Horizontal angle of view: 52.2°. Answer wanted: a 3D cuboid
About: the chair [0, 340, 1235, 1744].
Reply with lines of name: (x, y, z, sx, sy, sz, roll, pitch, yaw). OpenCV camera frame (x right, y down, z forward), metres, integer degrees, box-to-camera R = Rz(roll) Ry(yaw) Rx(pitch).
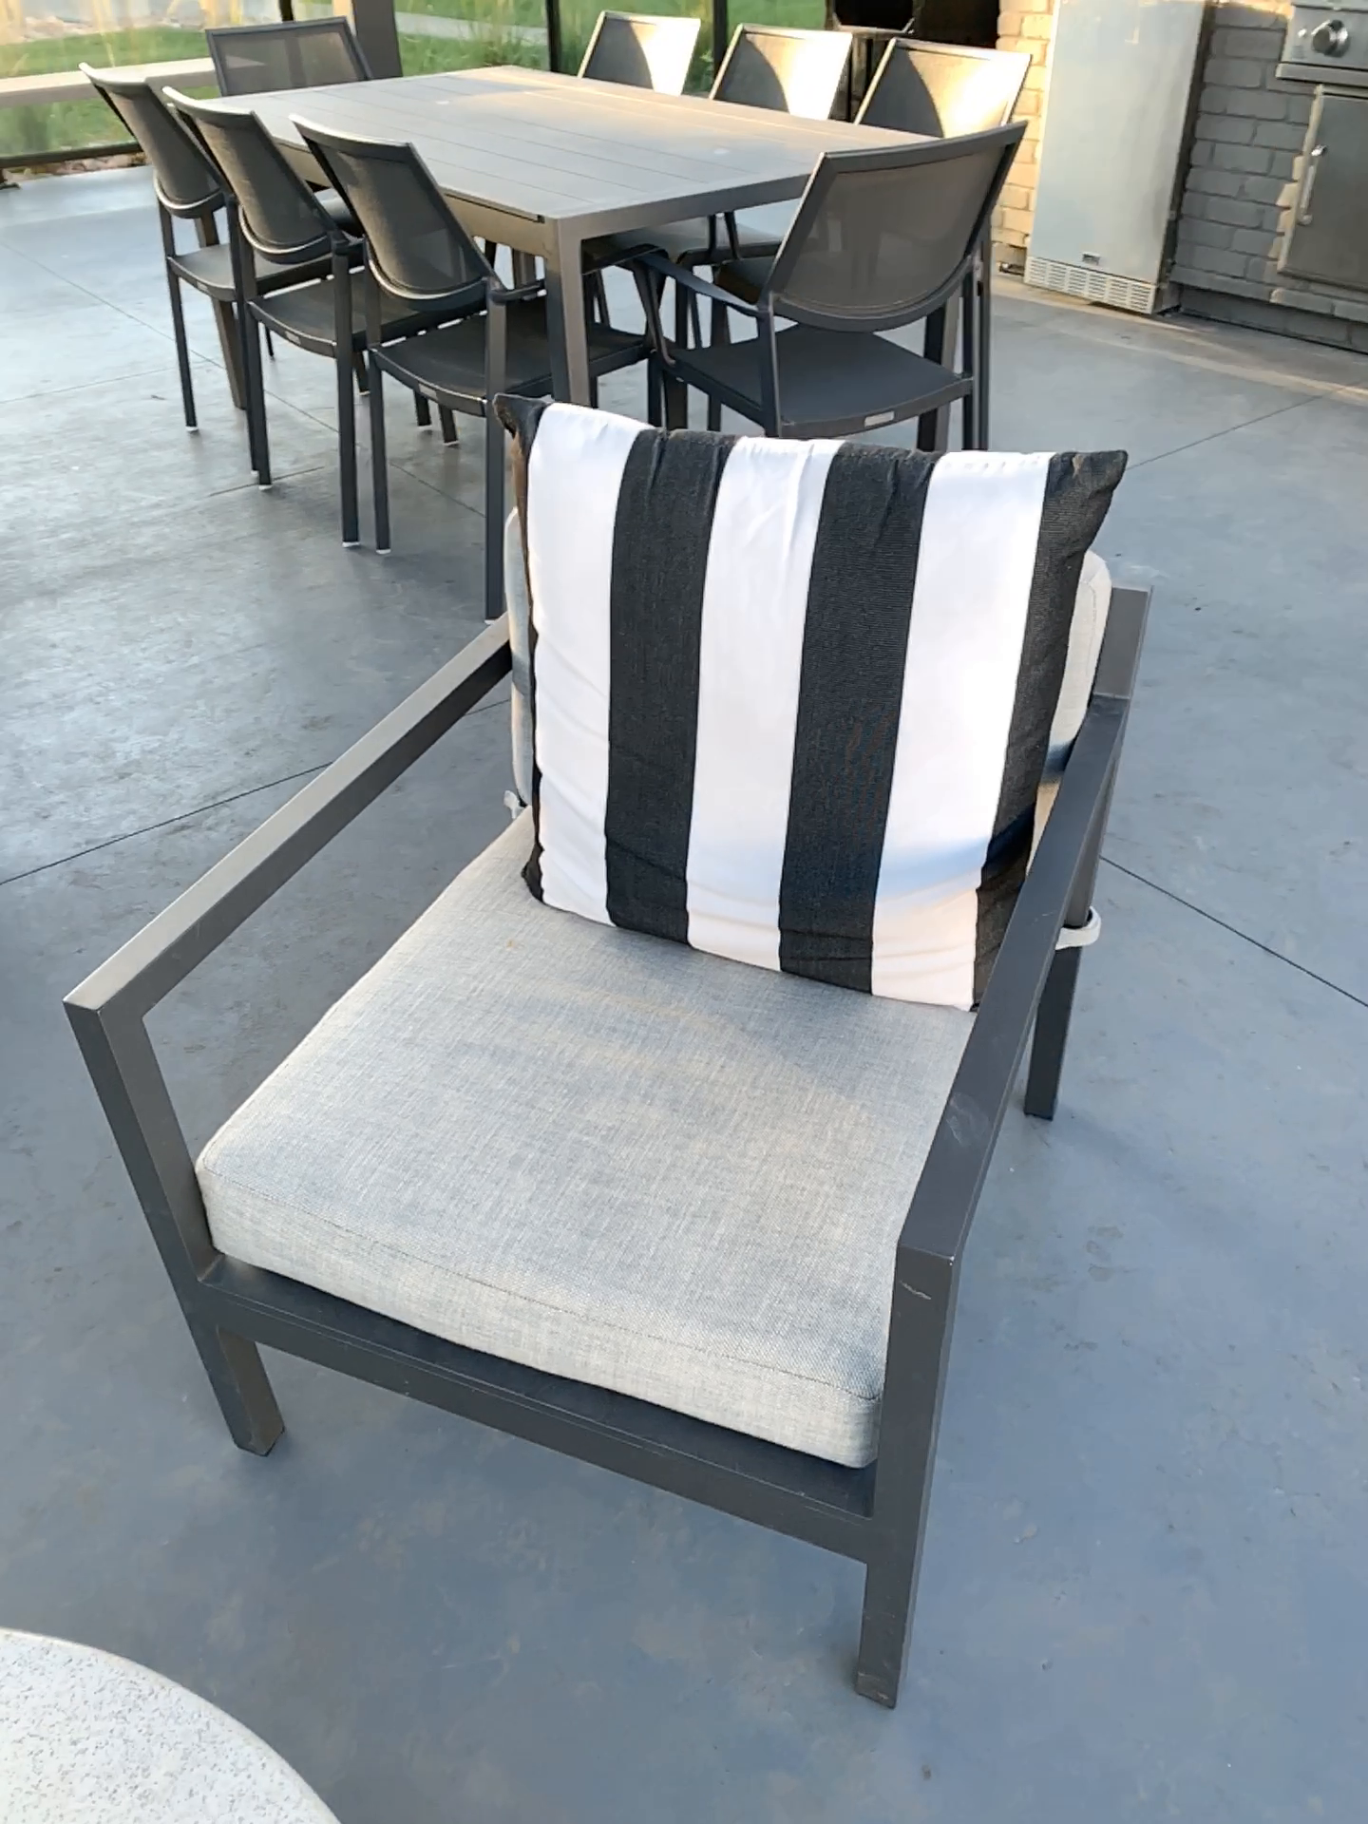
chair: (-0.009, 0.037, 1.232, 0.731, 0.796, 0.753, 12, 39, 18)
